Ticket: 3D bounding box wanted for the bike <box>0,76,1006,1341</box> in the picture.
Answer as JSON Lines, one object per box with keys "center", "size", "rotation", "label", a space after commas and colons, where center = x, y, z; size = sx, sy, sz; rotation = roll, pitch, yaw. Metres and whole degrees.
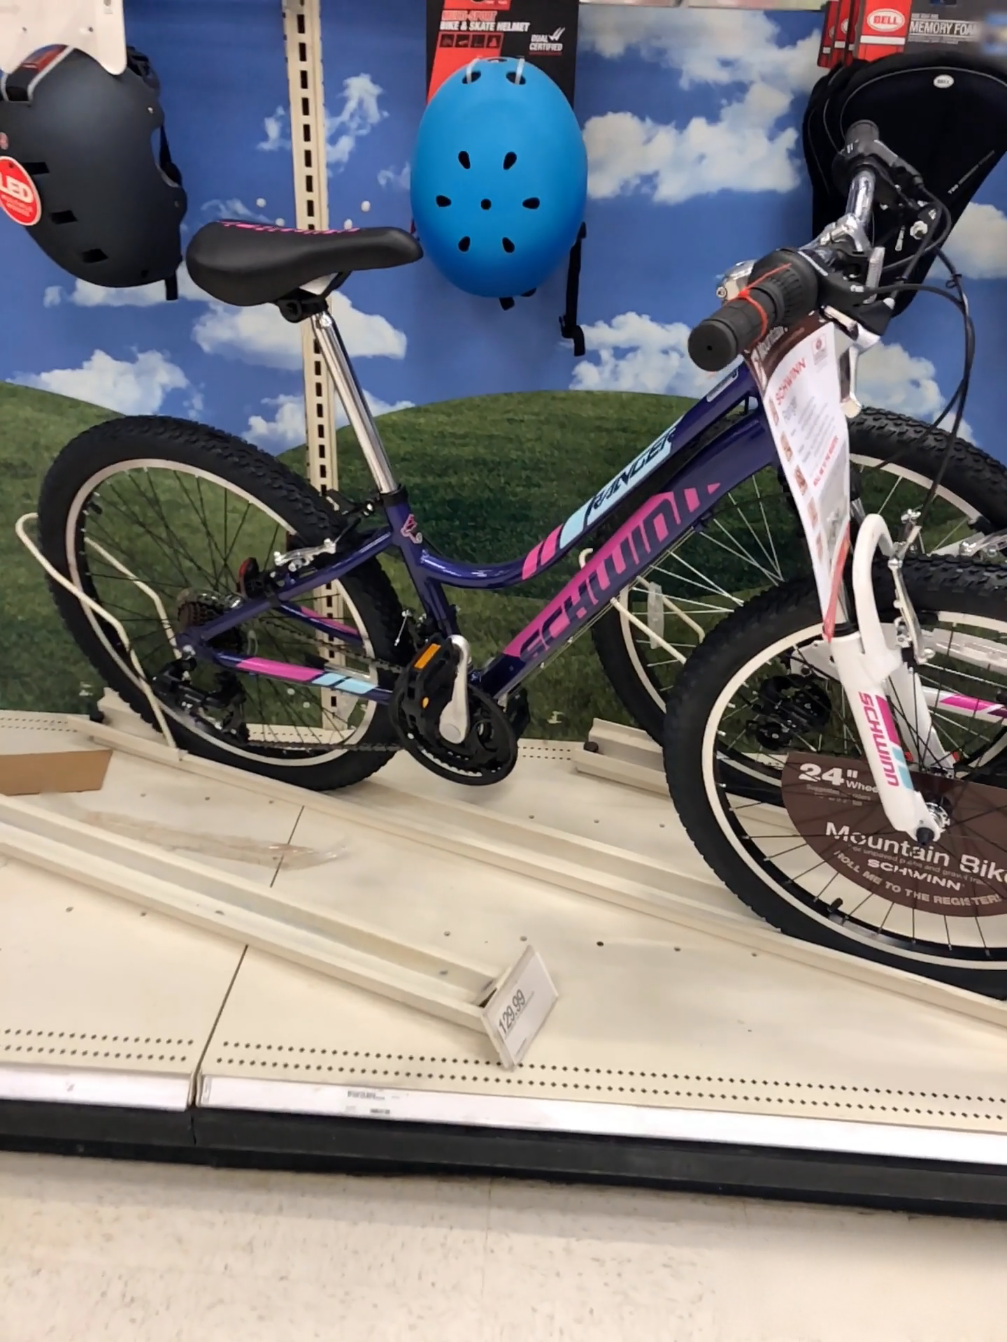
{"center": [0.124, -0.125, 1.109], "size": [1.223, 0.798, 0.570], "rotation": [16, 30, 28], "label": "bike"}
